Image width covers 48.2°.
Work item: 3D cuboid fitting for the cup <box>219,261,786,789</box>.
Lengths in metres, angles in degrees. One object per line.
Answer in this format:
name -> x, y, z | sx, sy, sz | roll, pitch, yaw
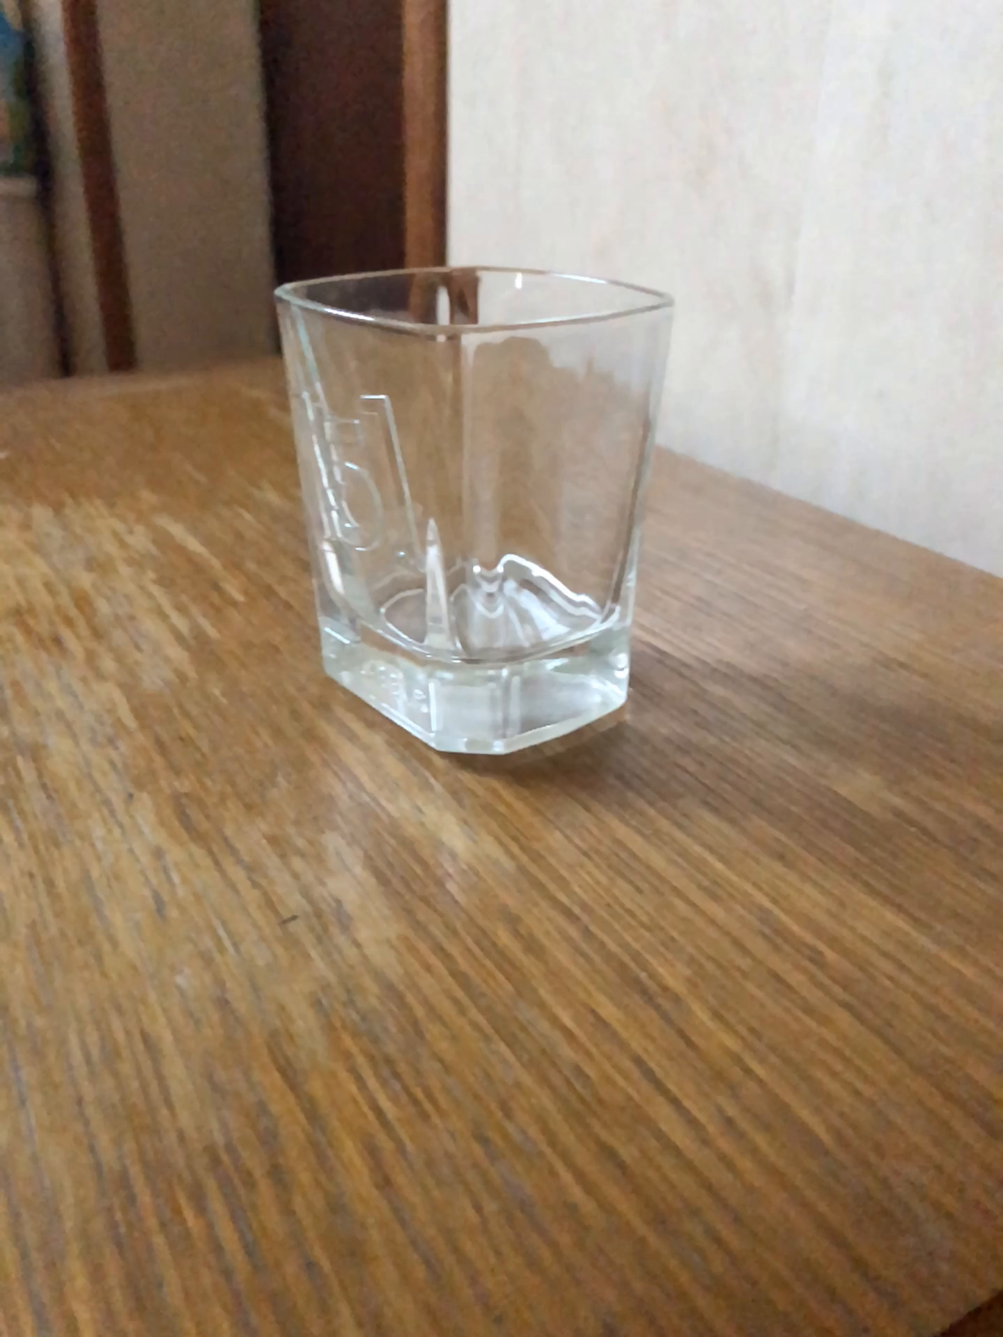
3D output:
cup -> -0.002, -0.034, 0.210 | 0.070, 0.070, 0.070 | 1, 26, -1
